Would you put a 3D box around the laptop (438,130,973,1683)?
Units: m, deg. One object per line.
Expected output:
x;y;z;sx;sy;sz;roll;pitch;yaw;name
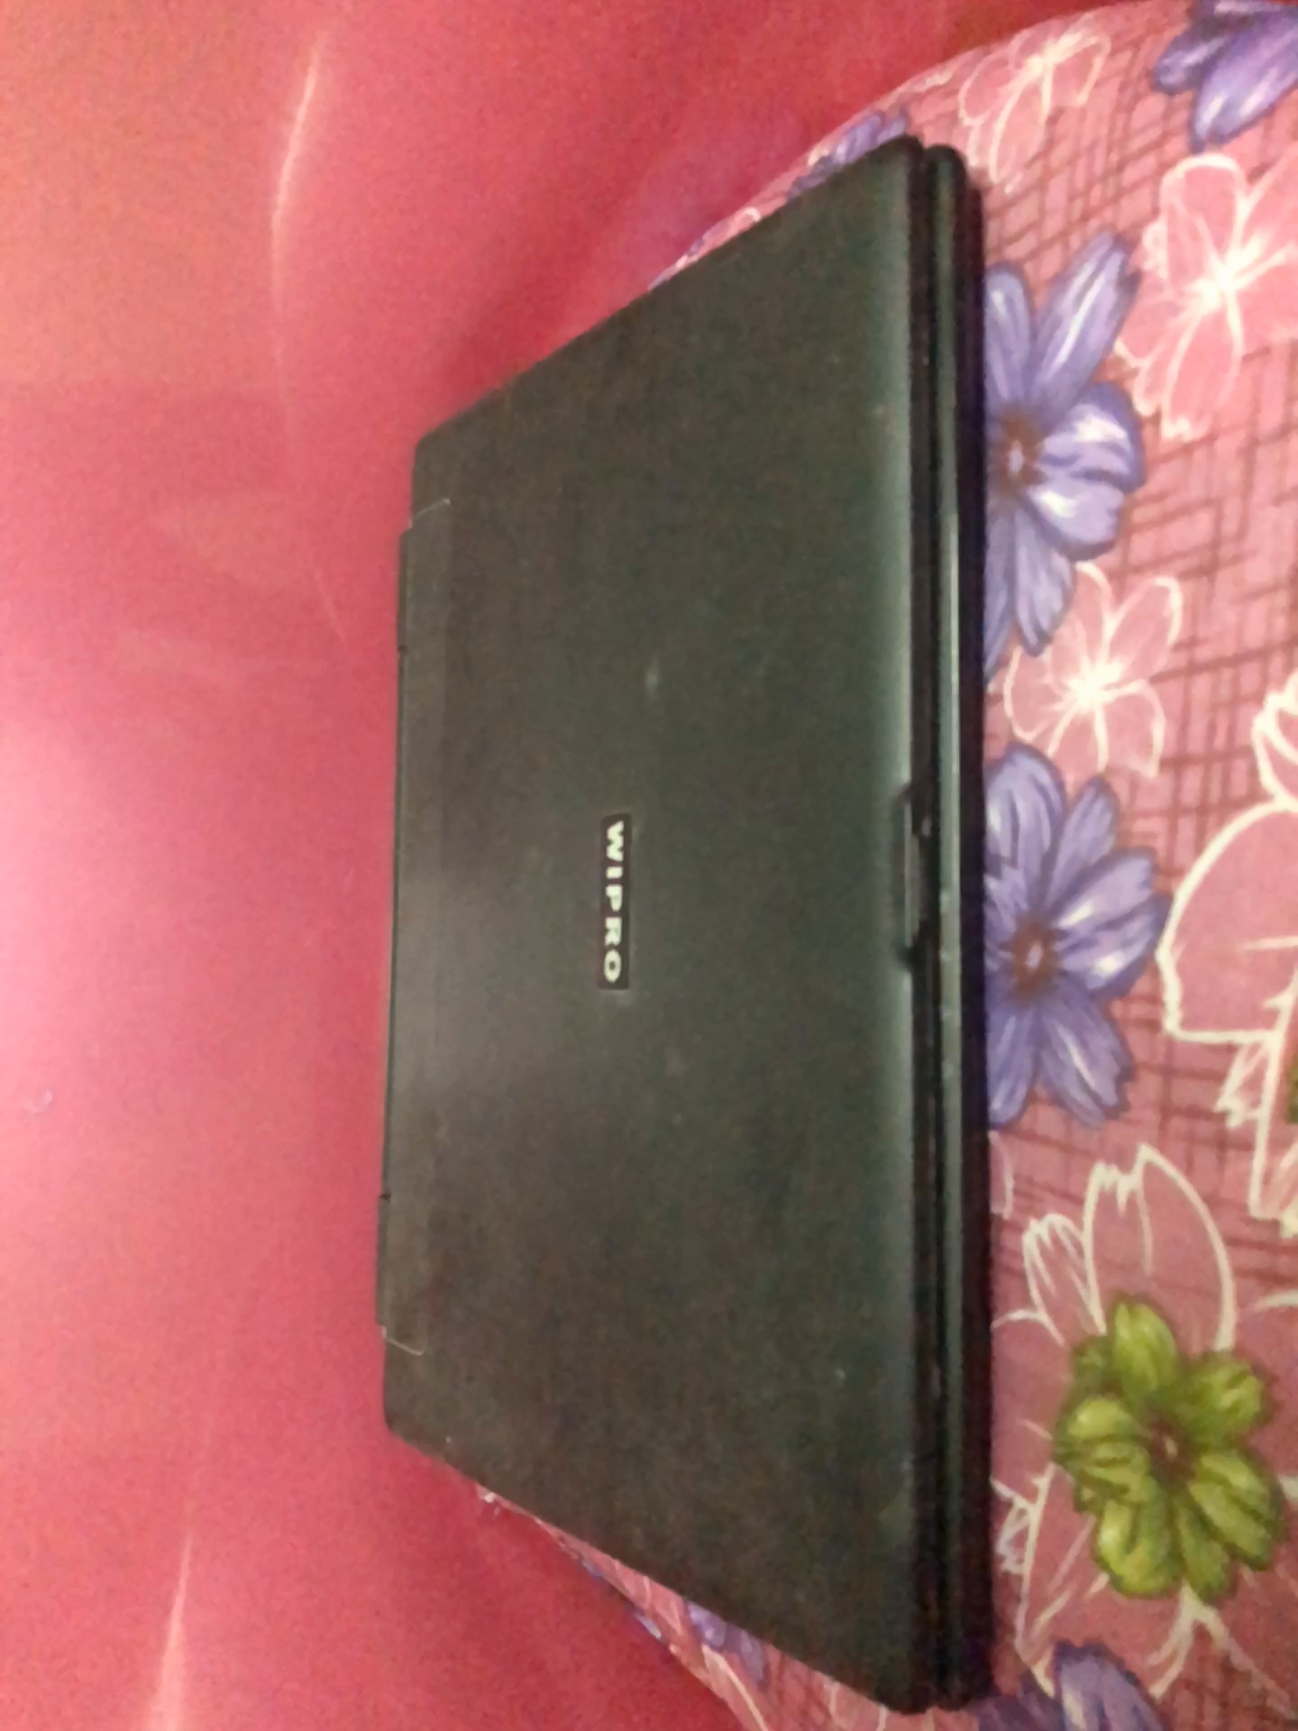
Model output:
0.001;0.008;0.386;0.221;0.006;0.322;-6;82;54;laptop
